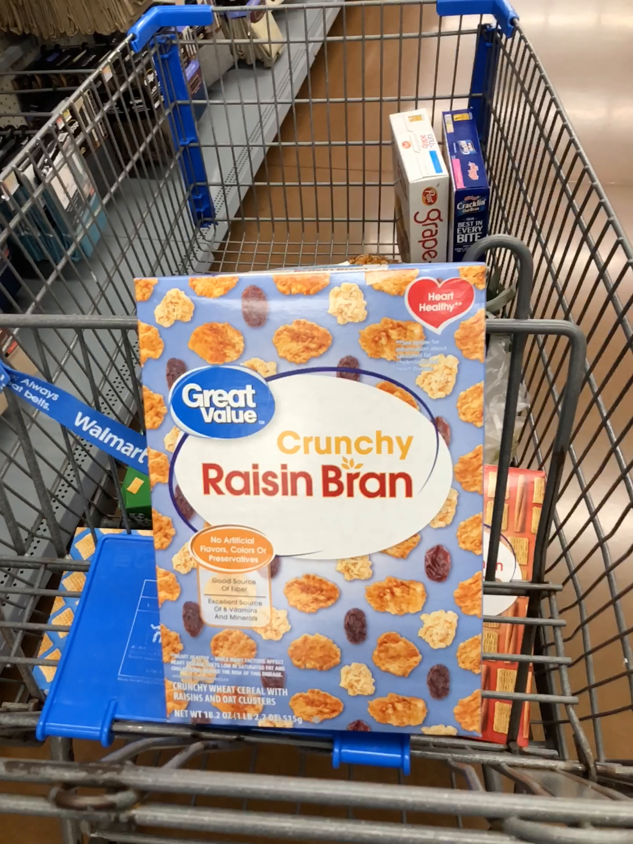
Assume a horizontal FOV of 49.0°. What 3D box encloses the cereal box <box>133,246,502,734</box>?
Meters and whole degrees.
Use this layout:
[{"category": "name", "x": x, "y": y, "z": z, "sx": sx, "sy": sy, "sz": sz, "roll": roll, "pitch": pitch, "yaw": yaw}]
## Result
[{"category": "cereal box", "x": 0.004, "y": 0.040, "z": 0.431, "sx": 0.200, "sy": 0.280, "sz": 0.070, "roll": 0, "pitch": 9, "yaw": 6}]
